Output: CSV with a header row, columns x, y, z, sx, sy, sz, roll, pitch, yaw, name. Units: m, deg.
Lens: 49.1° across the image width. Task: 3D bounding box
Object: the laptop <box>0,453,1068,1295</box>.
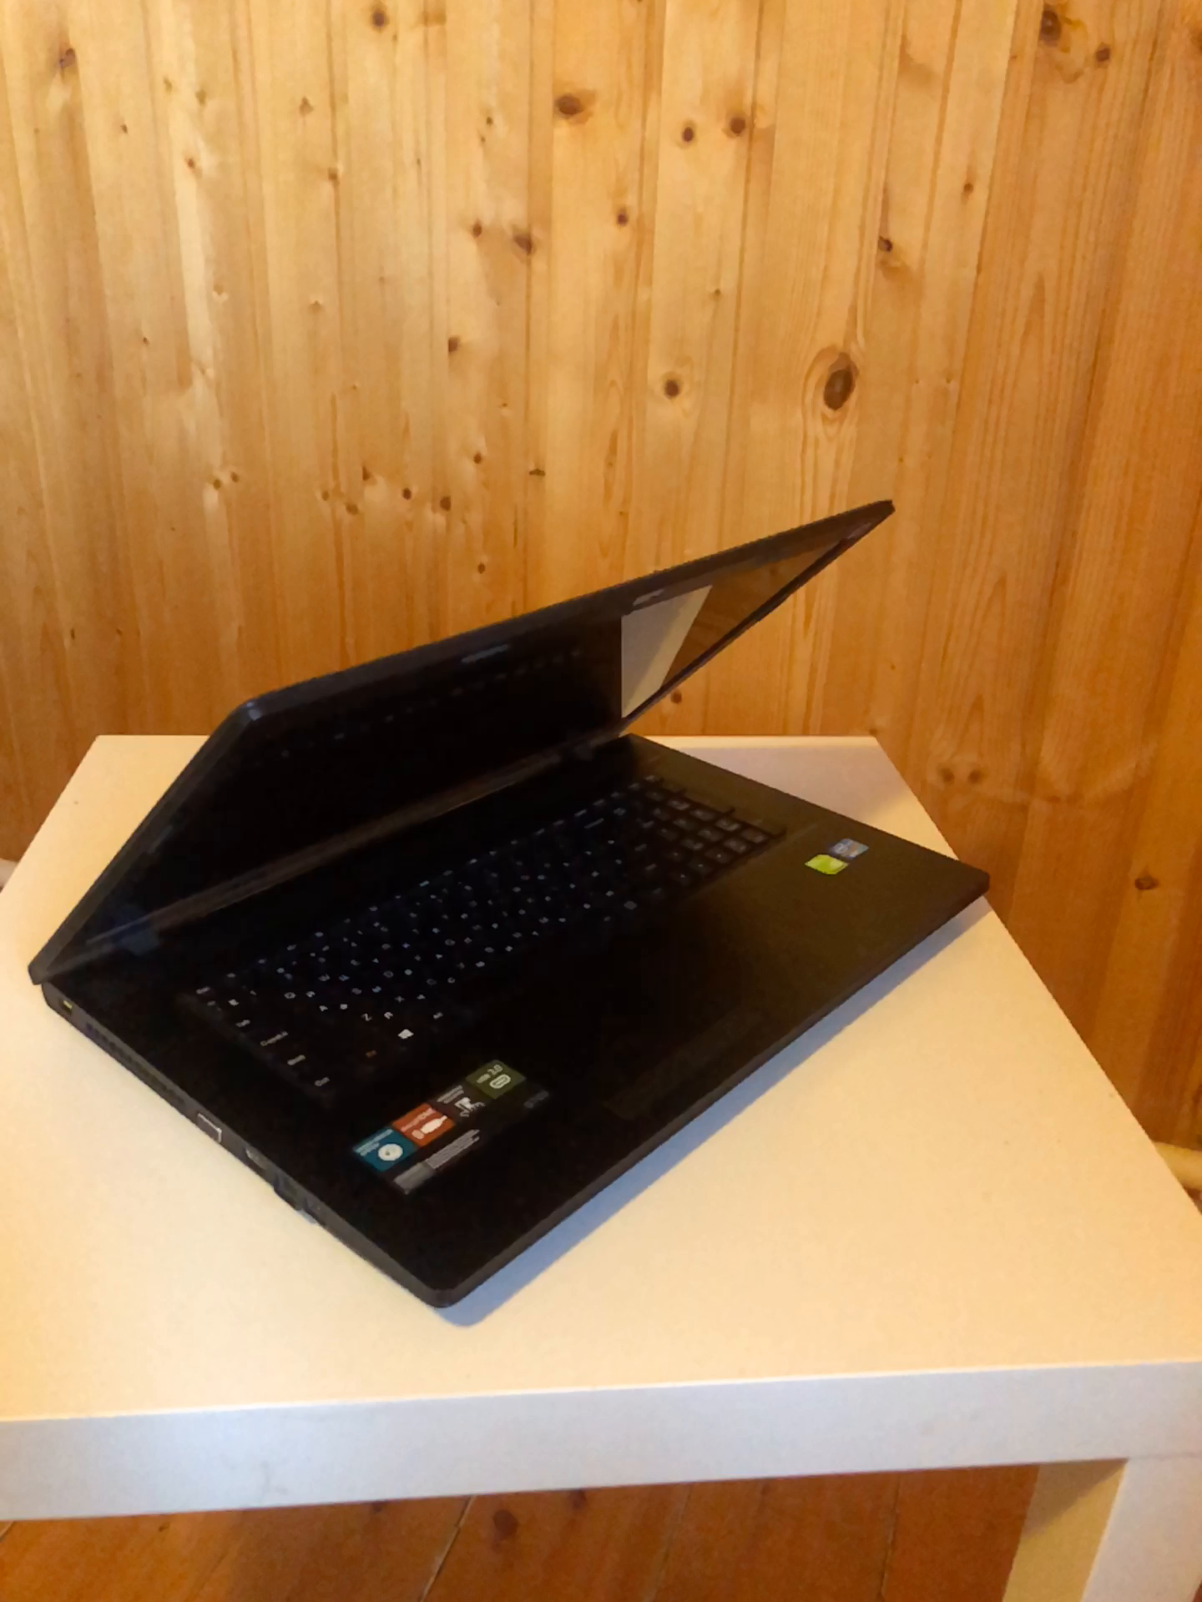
x,y,z,sx,sy,sz,roll,pitch,yaw,name
-0.011,-0.023,0.627,0.272,0.184,0.411,23,33,36,laptop
